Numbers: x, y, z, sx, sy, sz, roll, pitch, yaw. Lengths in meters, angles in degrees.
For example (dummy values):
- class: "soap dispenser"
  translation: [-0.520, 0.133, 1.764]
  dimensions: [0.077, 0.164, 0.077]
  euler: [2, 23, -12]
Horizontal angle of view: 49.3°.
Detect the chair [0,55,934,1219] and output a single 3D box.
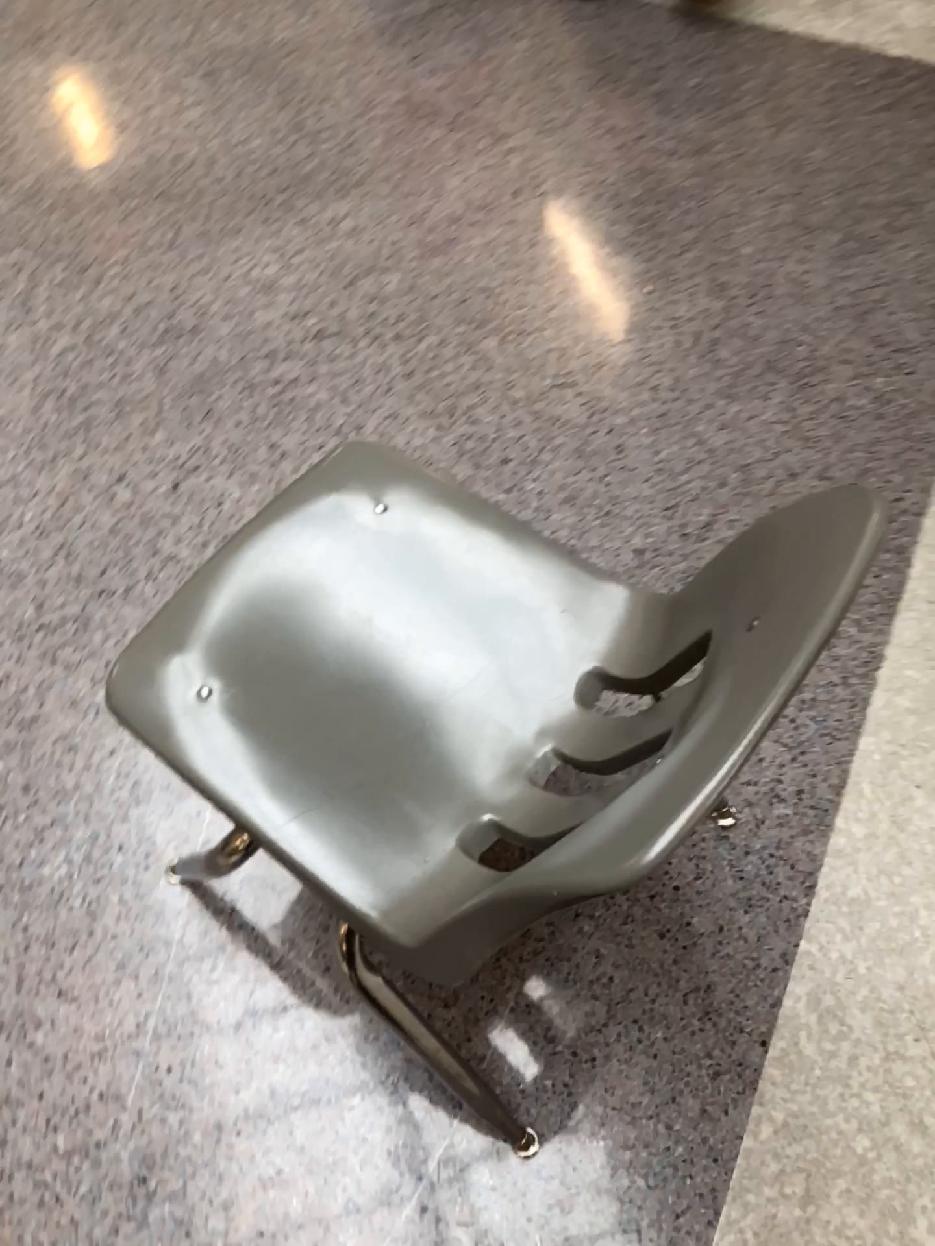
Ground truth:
- class: "chair"
  translation: [-0.050, 0.065, 0.849]
  dimensions: [0.551, 0.667, 0.511]
  euler: [31, 65, 18]
